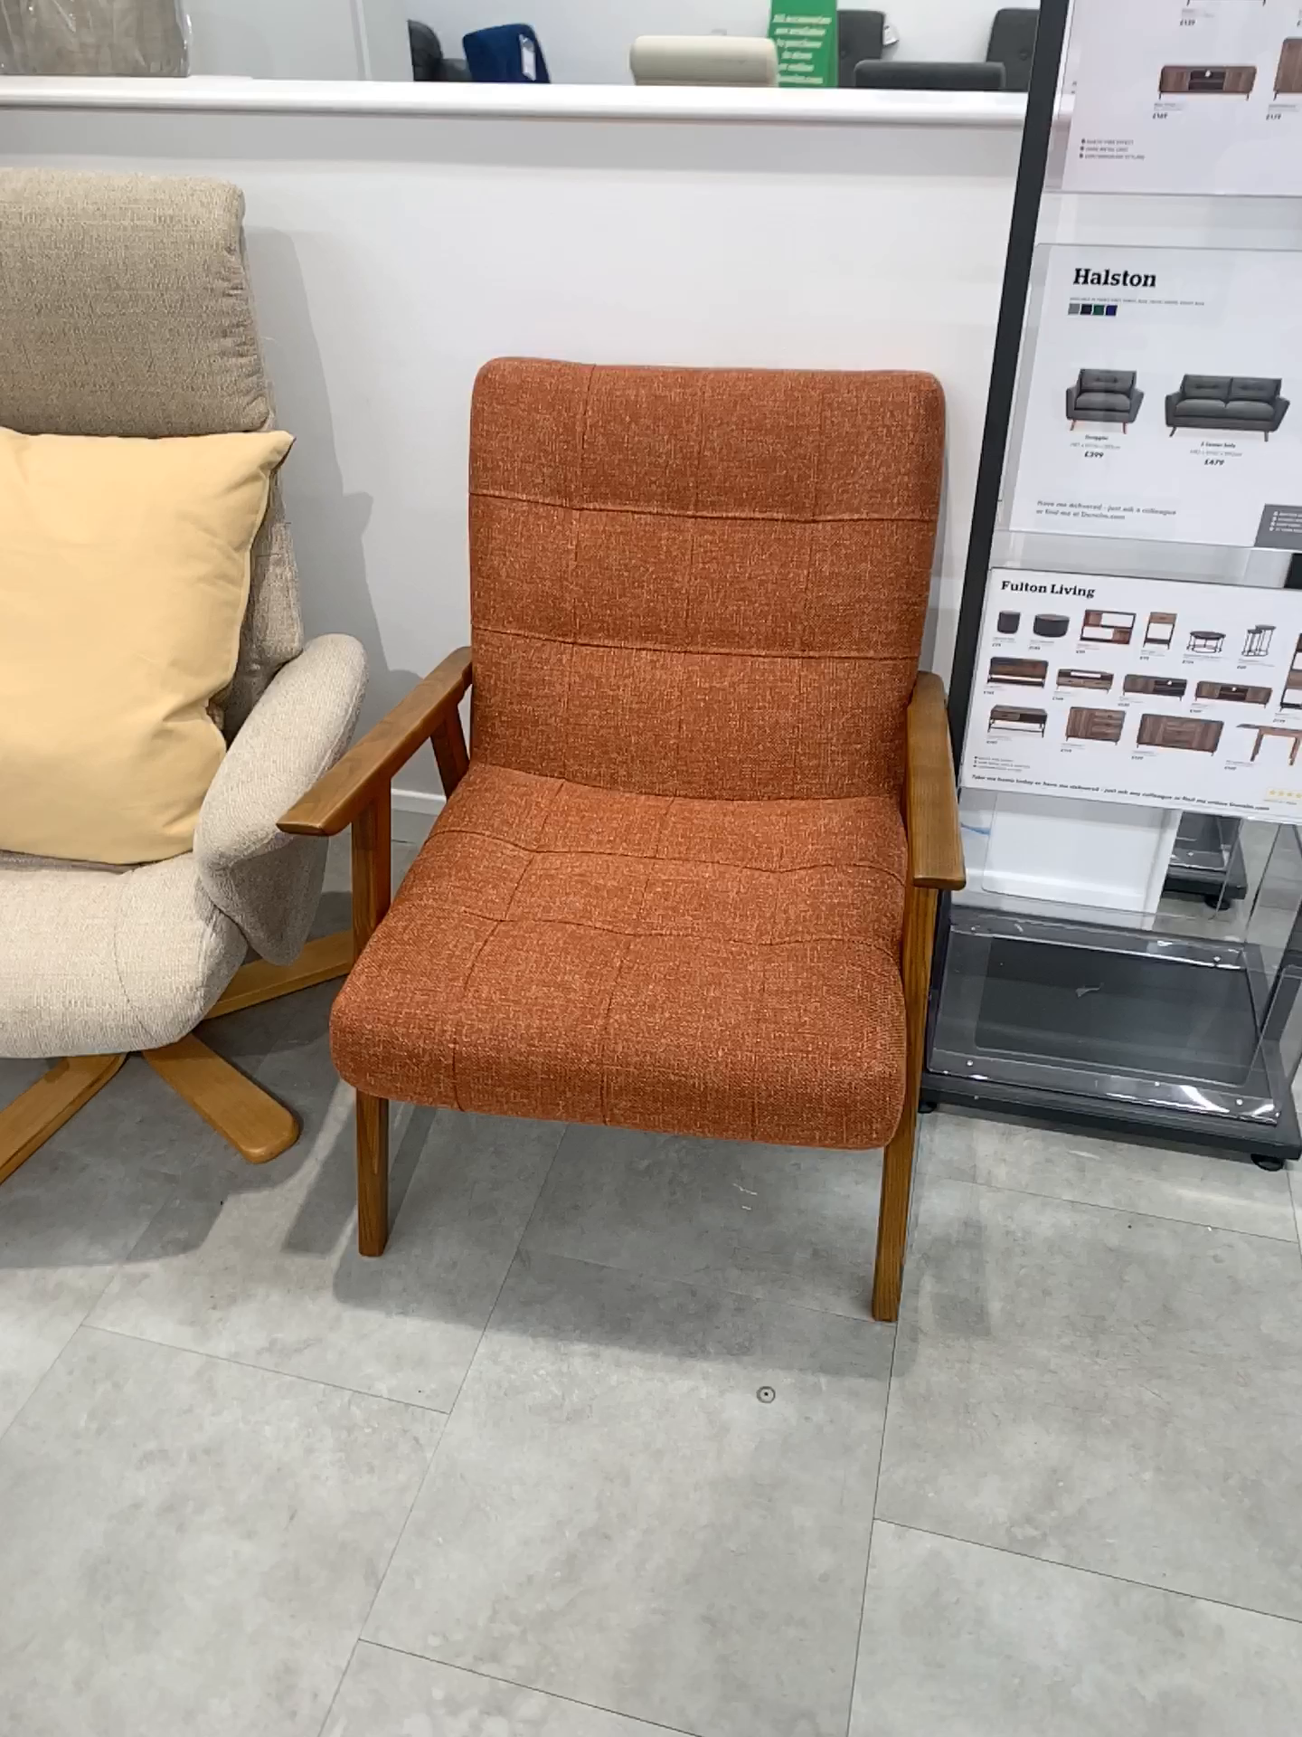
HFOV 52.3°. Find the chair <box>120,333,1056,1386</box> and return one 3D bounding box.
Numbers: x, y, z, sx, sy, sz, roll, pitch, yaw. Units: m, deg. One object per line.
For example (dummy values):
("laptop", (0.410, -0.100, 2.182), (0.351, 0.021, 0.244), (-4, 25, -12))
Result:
("chair", (0.003, -0.039, 1.491), (0.687, 0.884, 0.706), (5, 36, 8))

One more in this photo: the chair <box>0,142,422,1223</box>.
("chair", (-0.720, -0.206, 1.528), (0.697, 1.013, 0.686), (-1, 36, 0))
